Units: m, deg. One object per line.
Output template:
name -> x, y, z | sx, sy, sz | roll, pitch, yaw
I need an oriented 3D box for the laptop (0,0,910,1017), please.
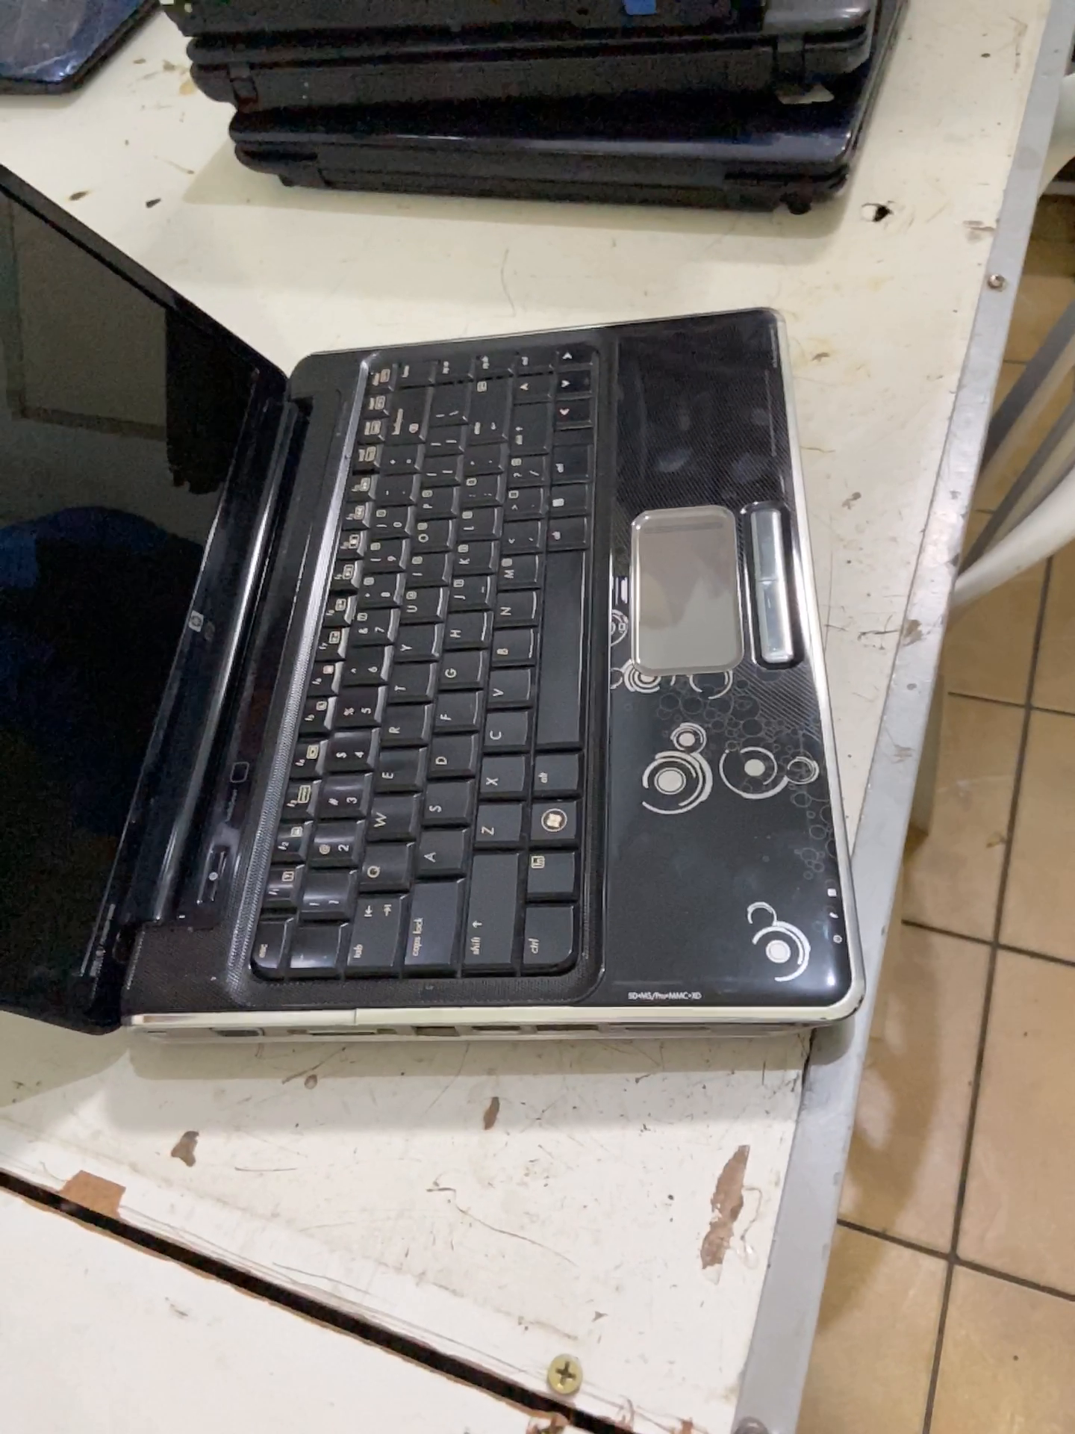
laptop -> -0.099, -0.093, 0.374 | 0.371, 0.176, 0.331 | -3, 55, 10
